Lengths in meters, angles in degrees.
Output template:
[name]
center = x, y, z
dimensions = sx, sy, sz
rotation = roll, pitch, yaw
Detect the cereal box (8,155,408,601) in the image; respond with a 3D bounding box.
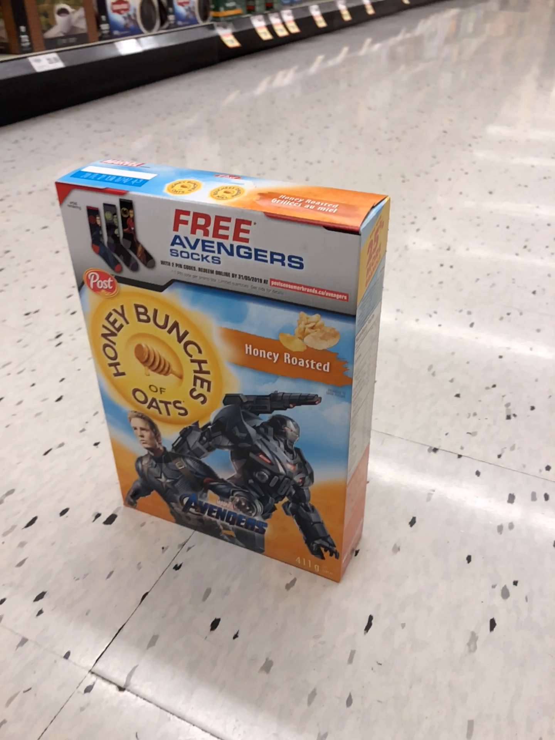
[cereal box]
center = -0.040, 0.010, 0.400
dimensions = 0.210, 0.258, 0.060
rotation = 13, 36, 20
